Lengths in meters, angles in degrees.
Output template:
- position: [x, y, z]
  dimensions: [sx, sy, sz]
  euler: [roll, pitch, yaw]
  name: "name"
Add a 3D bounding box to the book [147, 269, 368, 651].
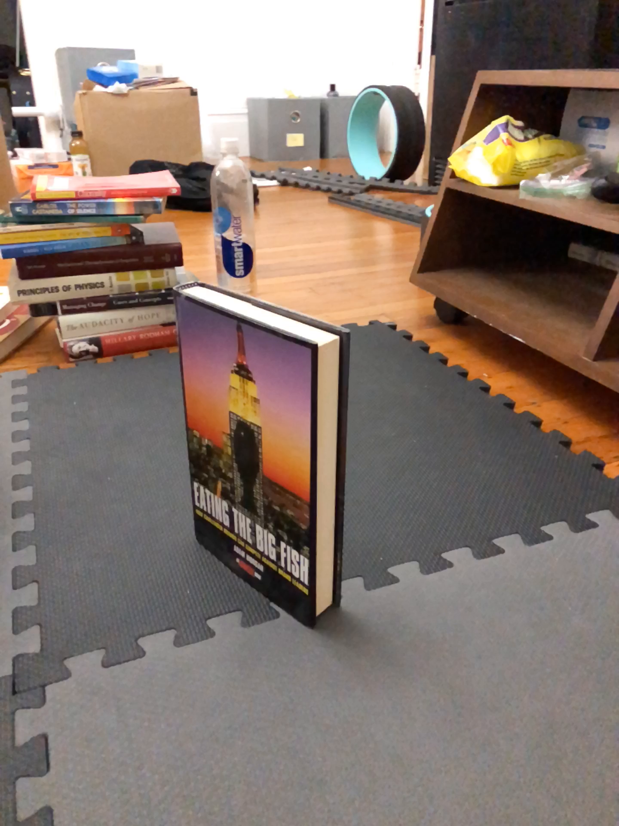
- position: [-0.041, 0.034, 0.543]
  dimensions: [0.180, 0.258, 0.050]
  euler: [24, 36, 39]
  name: "book"
